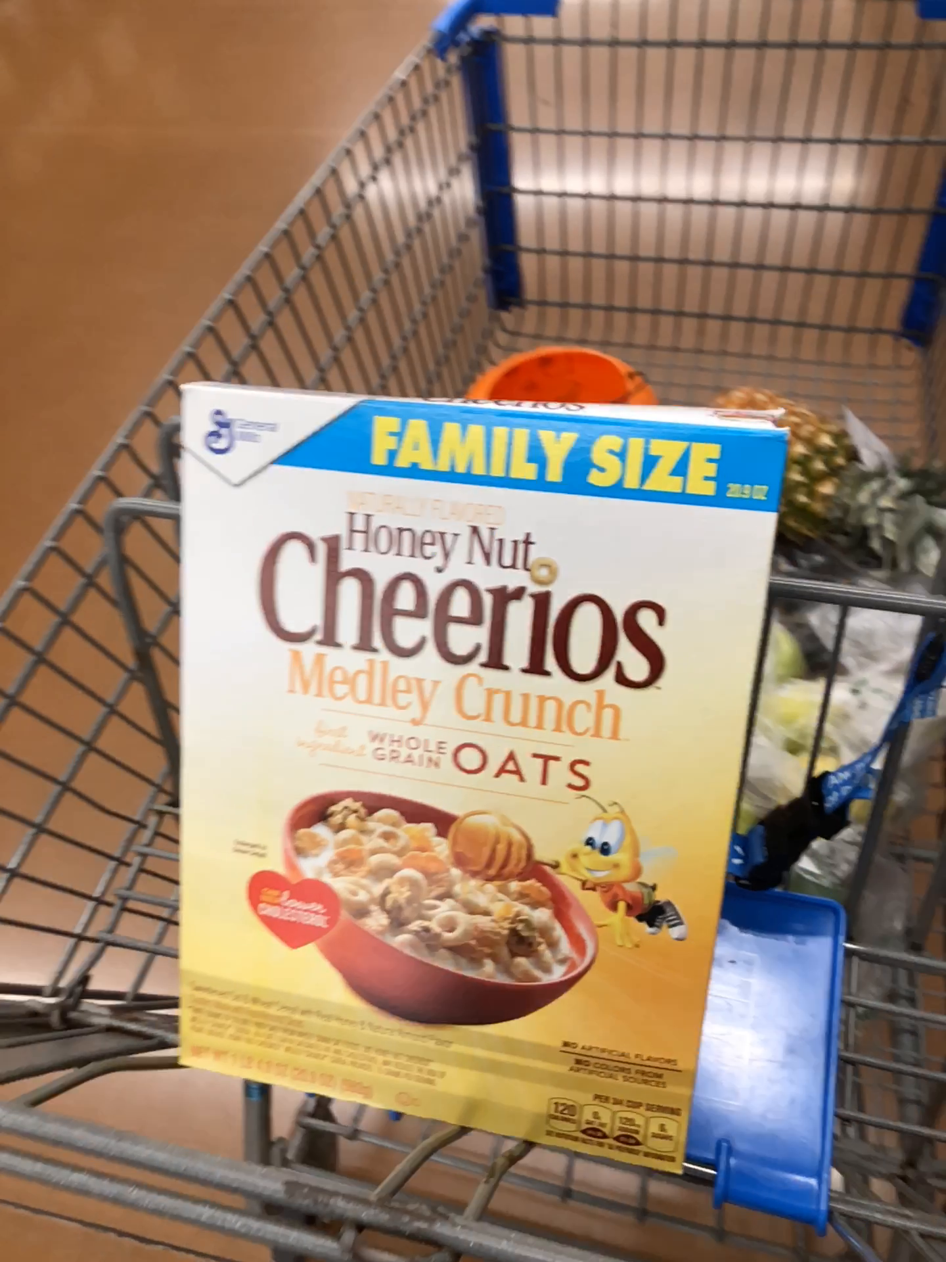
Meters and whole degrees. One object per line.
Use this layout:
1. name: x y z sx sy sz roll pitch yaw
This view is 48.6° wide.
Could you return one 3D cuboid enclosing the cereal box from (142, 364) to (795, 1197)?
1. cereal box: -0.013 0.057 0.457 0.250 0.320 0.070 7 13 12
